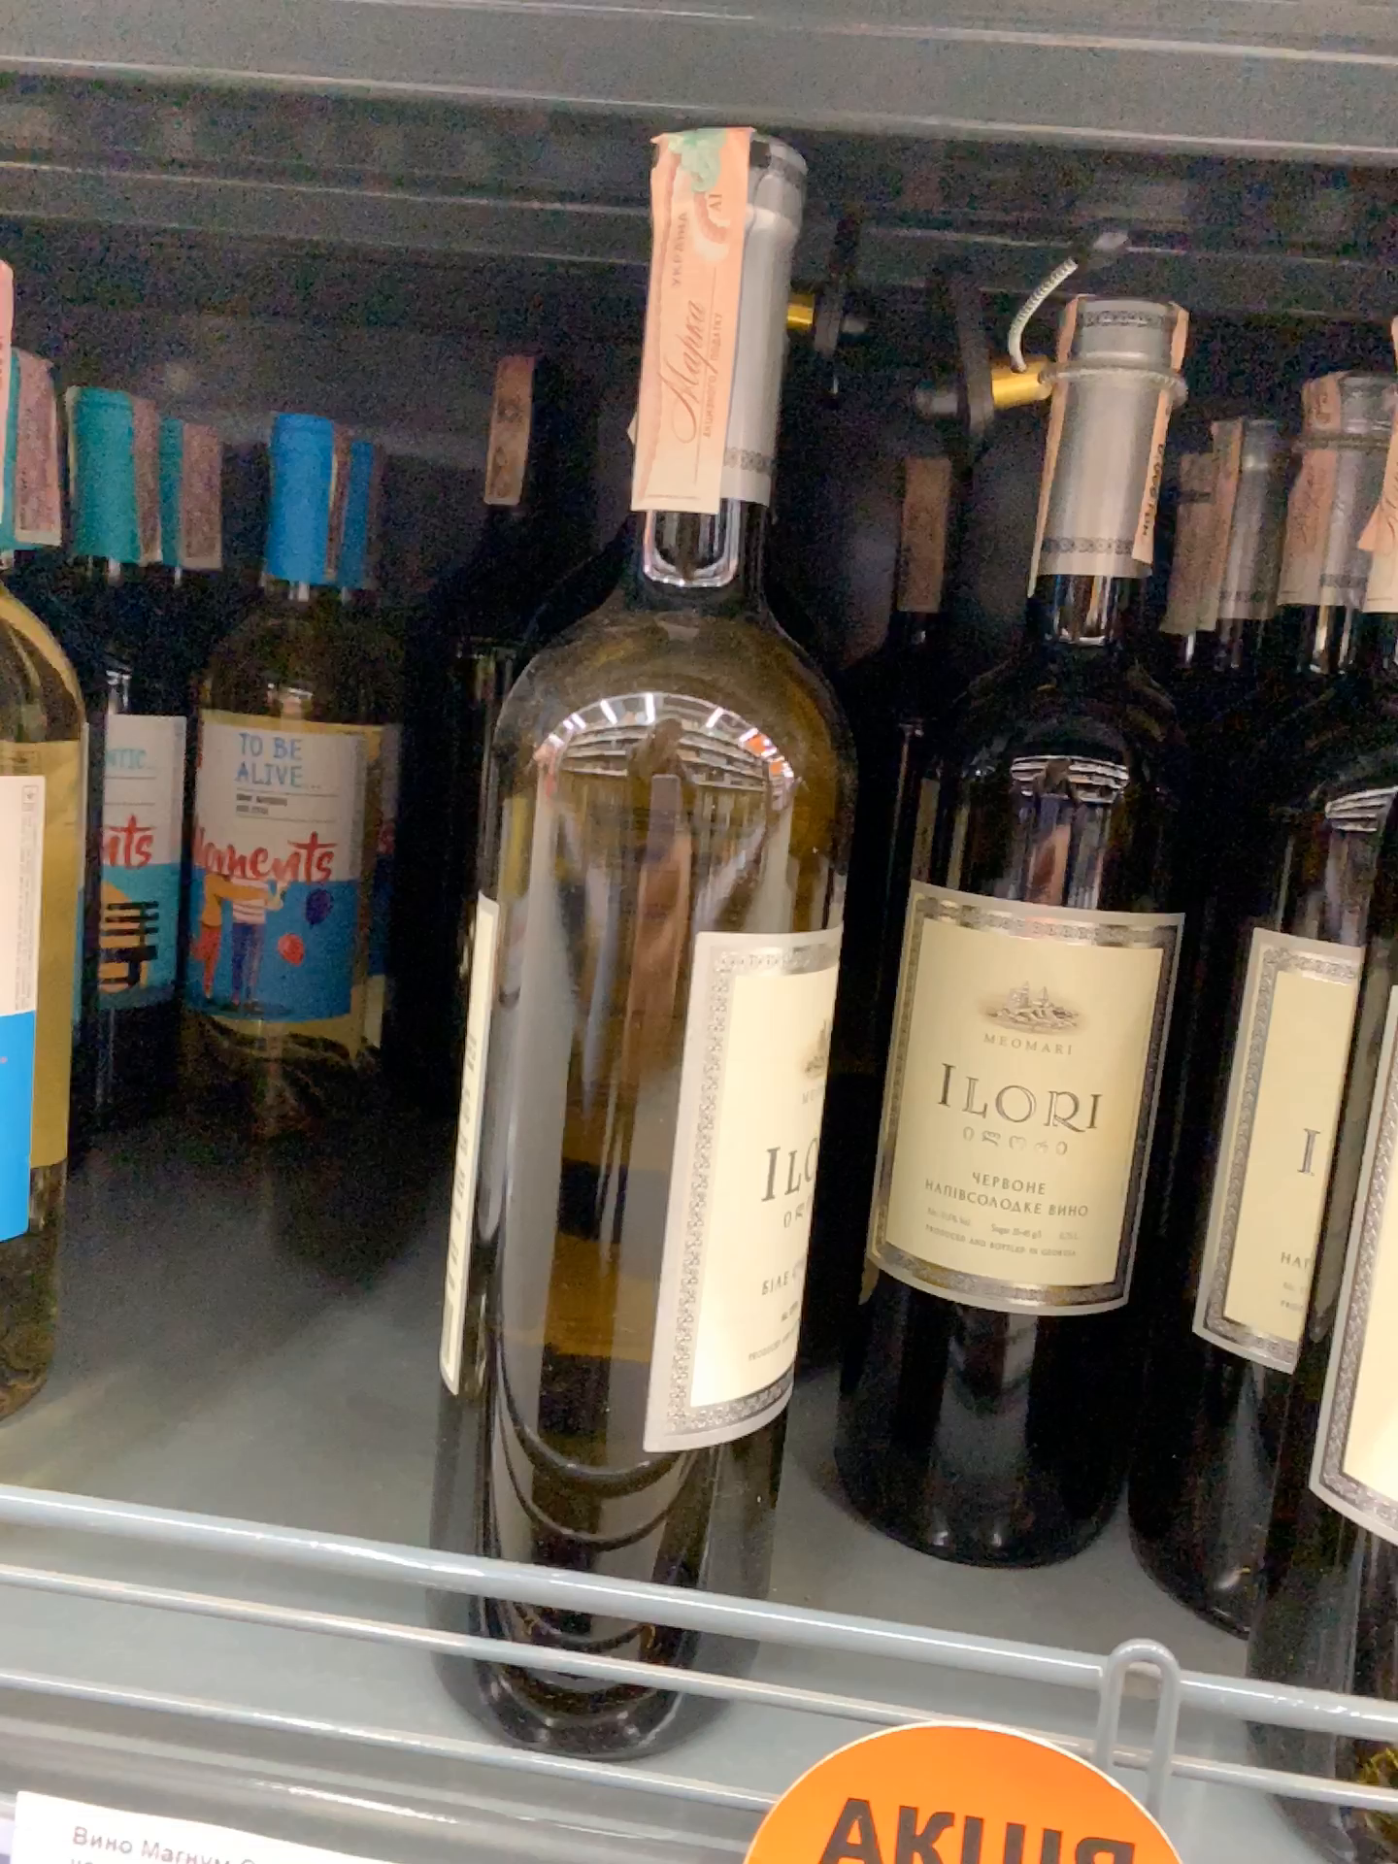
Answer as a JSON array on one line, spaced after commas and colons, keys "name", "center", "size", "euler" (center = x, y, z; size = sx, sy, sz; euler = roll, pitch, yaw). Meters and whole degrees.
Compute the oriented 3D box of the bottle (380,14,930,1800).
[{"name": "bottle", "center": [-0.009, 0.003, 0.295], "size": [0.069, 0.319, 0.070], "euler": [5, 10, -1]}]
